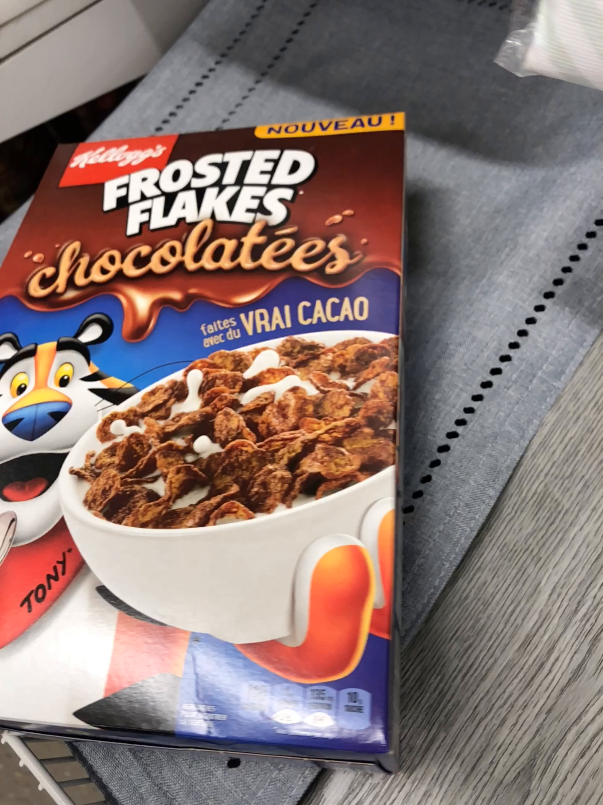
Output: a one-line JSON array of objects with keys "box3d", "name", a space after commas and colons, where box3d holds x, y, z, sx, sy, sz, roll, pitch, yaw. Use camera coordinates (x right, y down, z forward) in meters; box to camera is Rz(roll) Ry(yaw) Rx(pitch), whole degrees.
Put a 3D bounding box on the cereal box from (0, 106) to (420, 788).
[{"box3d": [-0.052, -0.008, 0.322, 0.210, 0.070, 0.311, -1, 55, 12], "name": "cereal box"}]
